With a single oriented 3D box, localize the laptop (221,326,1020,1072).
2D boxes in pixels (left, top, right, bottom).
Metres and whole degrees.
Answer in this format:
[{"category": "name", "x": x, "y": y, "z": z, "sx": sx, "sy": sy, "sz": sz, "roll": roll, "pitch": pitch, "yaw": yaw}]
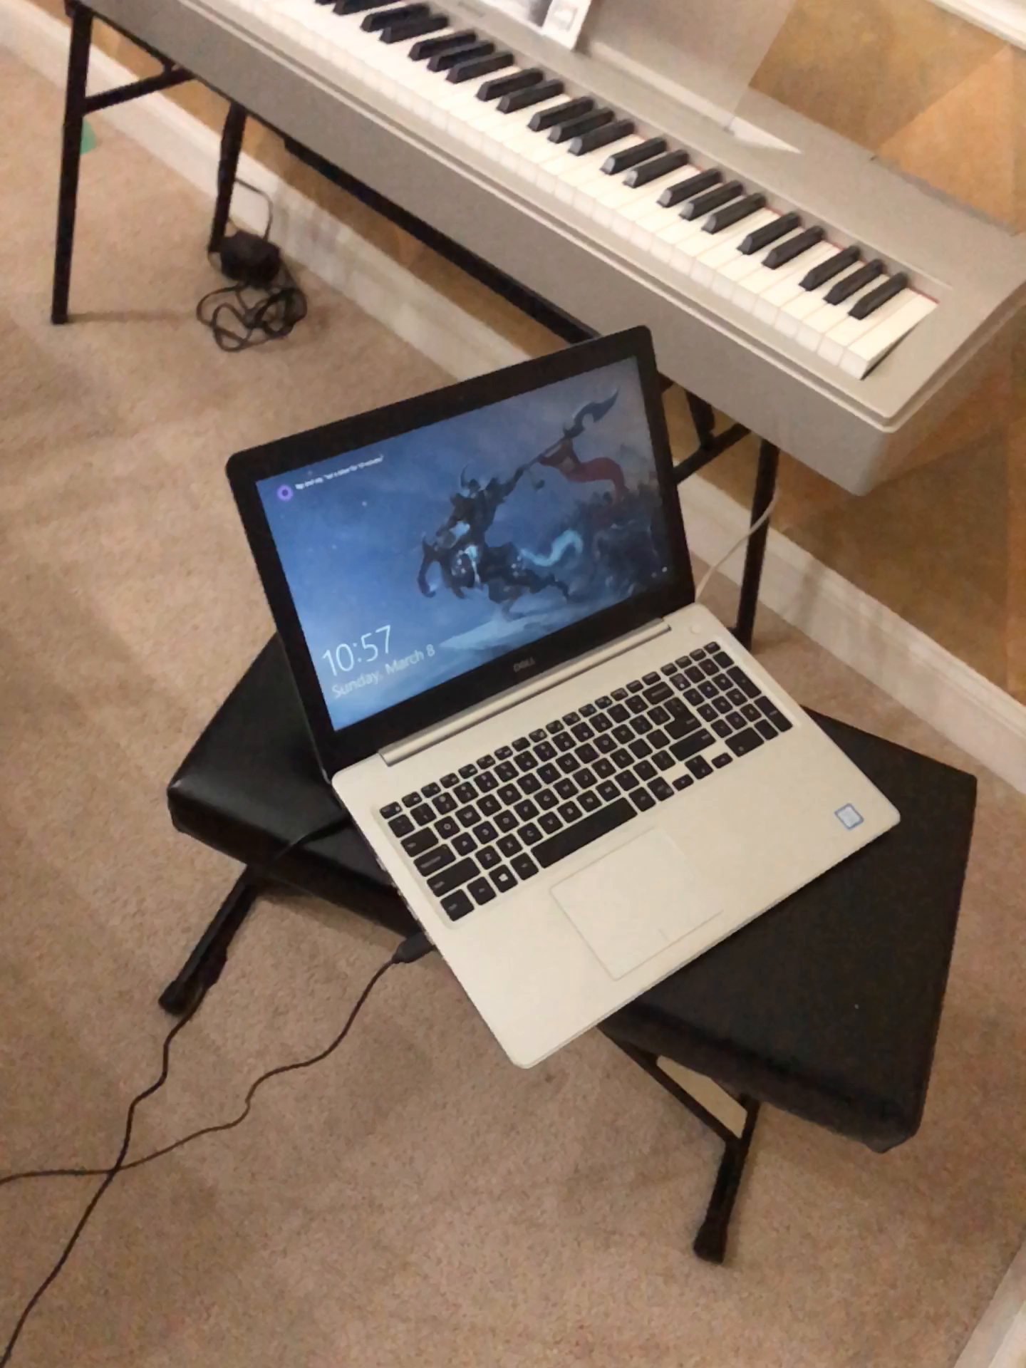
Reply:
[{"category": "laptop", "x": 0.059, "y": -0.020, "z": 0.825, "sx": 0.375, "sy": 0.184, "sz": 0.409, "roll": -26, "pitch": 63, "yaw": -27}]
